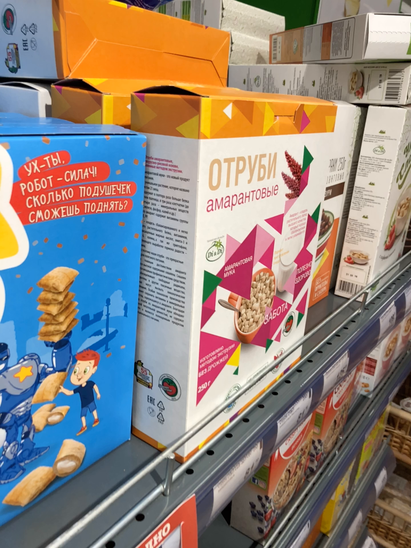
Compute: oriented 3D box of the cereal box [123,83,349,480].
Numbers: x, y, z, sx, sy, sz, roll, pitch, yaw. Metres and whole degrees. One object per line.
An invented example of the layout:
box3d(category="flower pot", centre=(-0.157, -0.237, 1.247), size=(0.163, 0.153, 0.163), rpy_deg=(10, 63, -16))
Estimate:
box3d(category="cereal box", centre=(0.028, -0.008, 0.368), size=(0.060, 0.259, 0.201), rpy_deg=(18, 25, 33))
